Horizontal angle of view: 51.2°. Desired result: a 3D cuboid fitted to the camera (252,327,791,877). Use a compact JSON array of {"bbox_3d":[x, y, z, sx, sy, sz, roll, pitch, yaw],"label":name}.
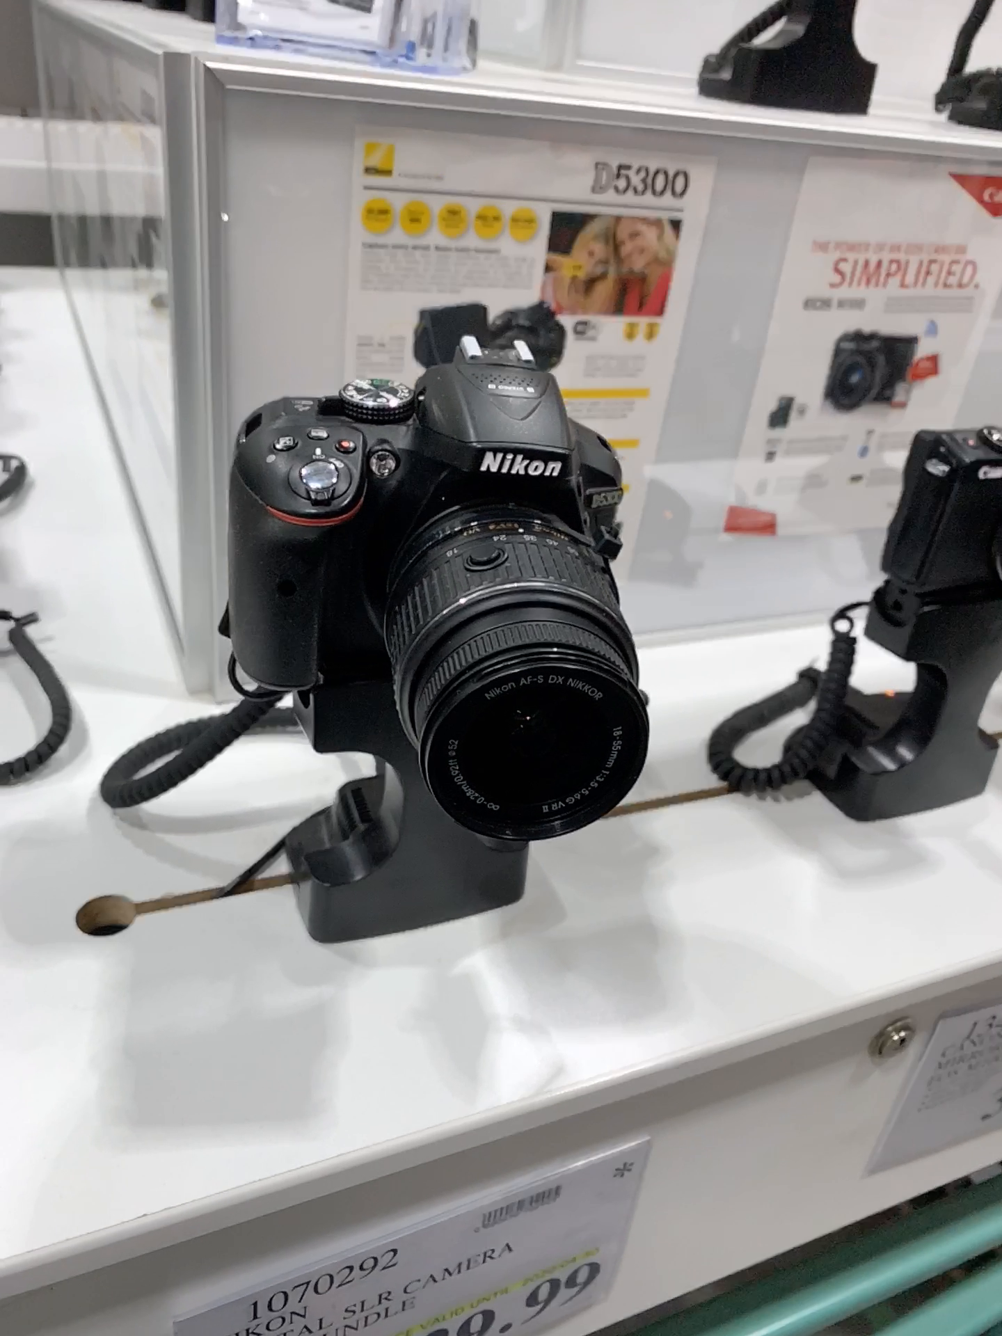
[{"bbox_3d":[-0.012,-0.030,0.316,0.120,0.099,0.151,-1,31,-14],"label":"camera"}]
